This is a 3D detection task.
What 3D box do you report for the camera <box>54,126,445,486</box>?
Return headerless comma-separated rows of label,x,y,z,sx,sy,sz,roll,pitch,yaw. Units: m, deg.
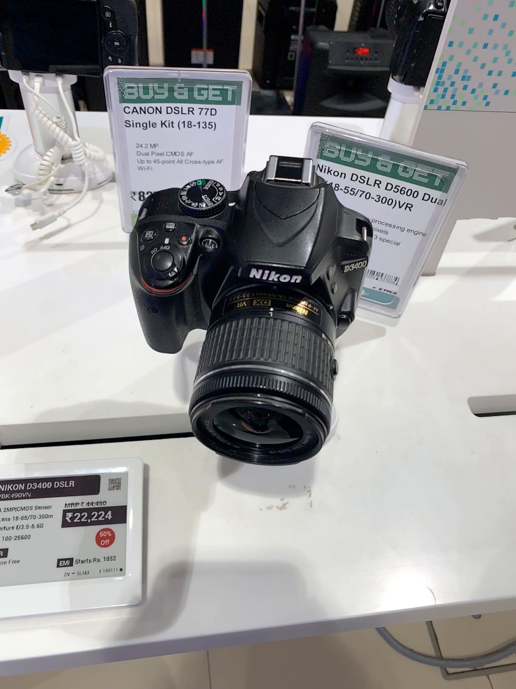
camera,-0.001,-0.019,0.231,0.120,0.080,0.120,7,50,-1
